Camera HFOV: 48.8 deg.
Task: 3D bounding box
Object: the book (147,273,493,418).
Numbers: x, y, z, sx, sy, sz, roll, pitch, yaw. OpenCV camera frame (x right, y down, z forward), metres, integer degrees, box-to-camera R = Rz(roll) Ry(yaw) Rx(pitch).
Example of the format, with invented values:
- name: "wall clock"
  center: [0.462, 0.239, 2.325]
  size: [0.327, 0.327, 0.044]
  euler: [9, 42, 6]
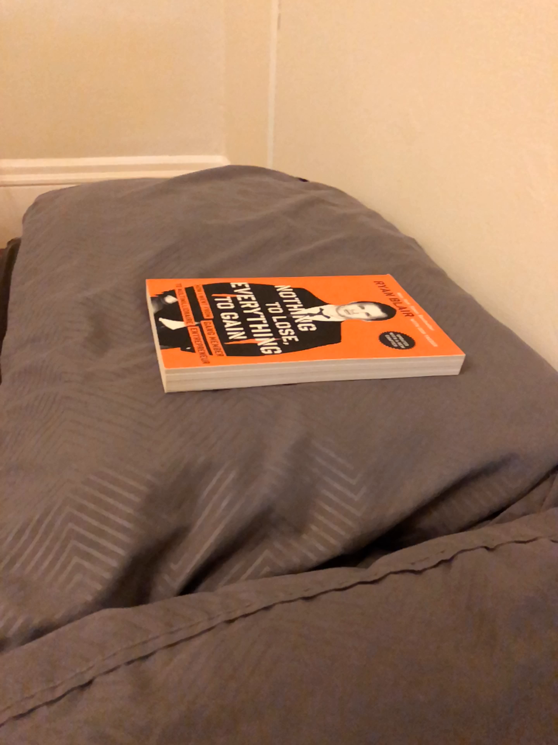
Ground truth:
- name: "book"
  center: [0.022, -0.030, 0.470]
  size: [0.230, 0.020, 0.151]
  euler: [-3, 37, -15]
